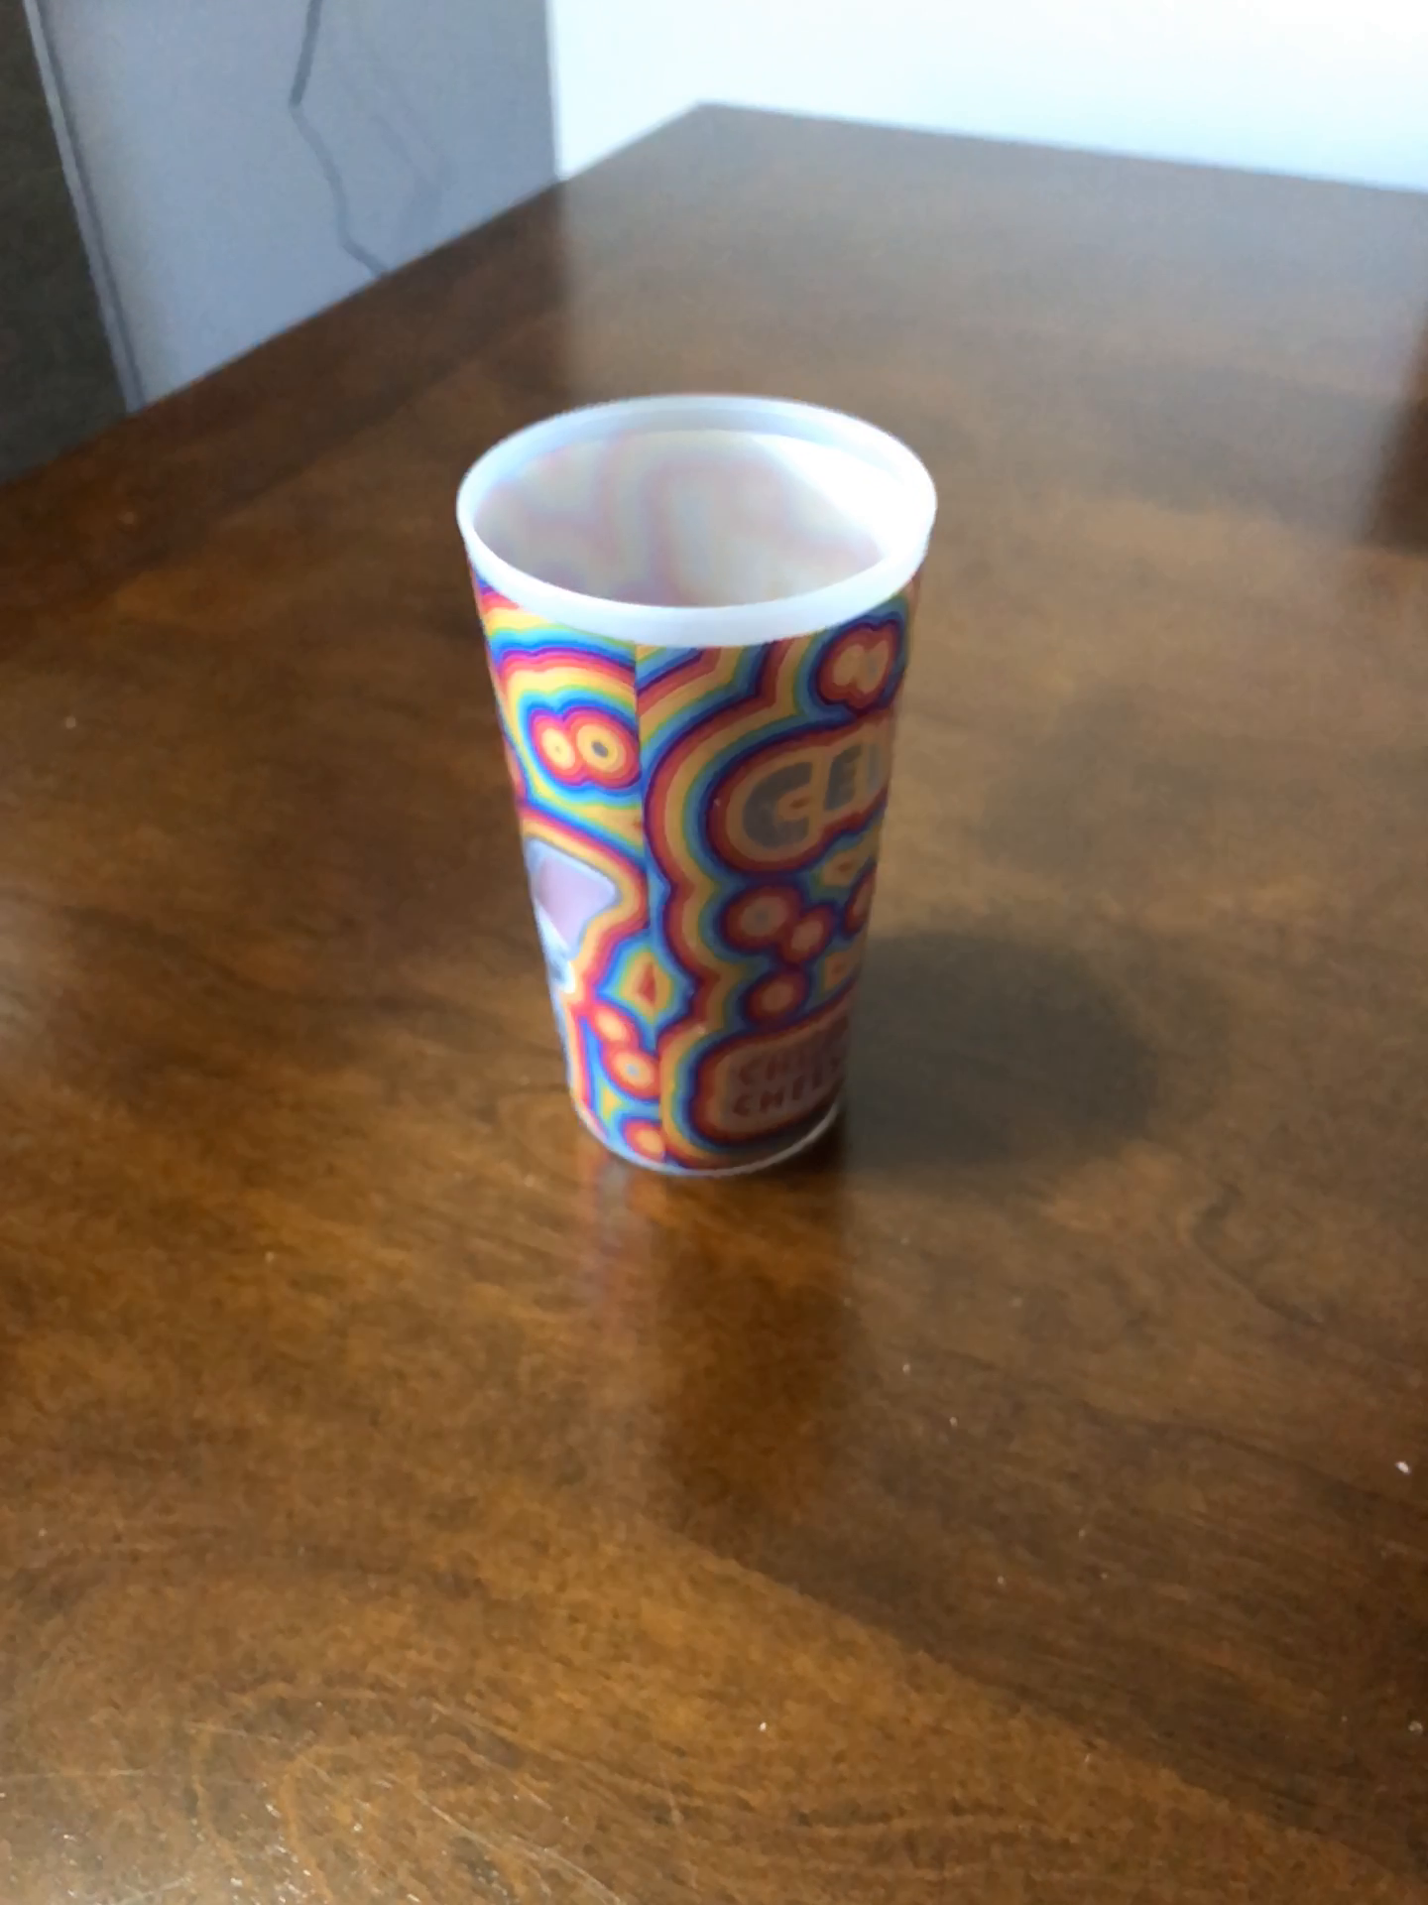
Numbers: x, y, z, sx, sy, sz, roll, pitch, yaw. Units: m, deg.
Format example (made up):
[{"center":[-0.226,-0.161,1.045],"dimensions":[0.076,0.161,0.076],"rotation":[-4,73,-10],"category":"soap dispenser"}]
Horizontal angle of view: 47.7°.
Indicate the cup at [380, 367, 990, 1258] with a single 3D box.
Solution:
[{"center":[-0.001,-0.023,0.290],"dimensions":[0.070,0.129,0.070],"rotation":[-1,41,1],"category":"cup"}]
